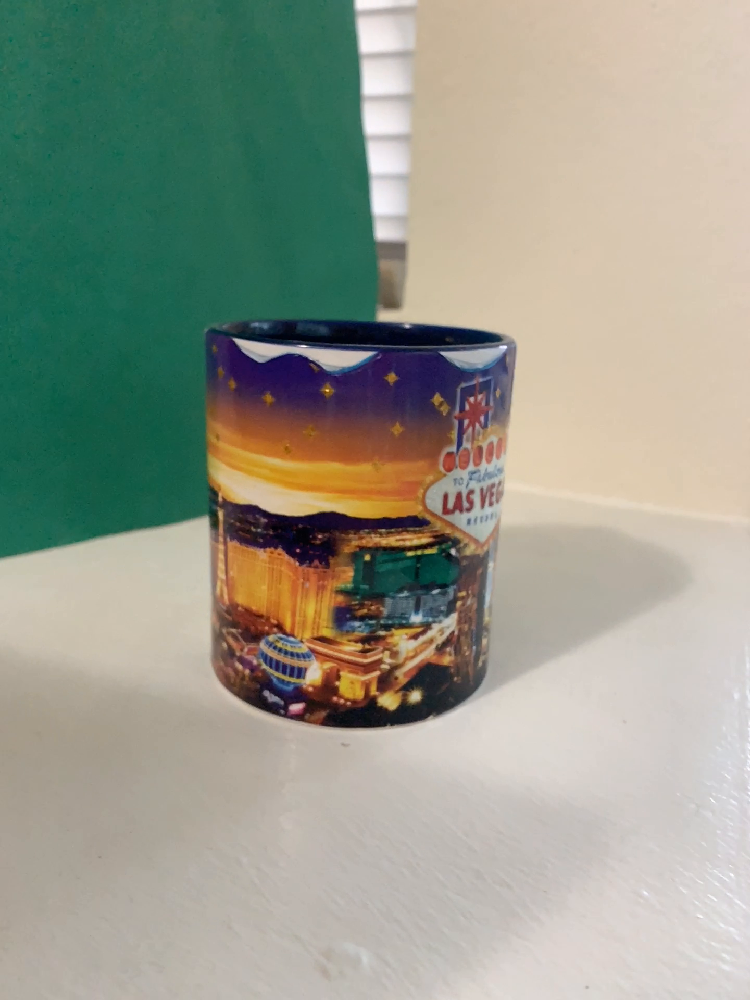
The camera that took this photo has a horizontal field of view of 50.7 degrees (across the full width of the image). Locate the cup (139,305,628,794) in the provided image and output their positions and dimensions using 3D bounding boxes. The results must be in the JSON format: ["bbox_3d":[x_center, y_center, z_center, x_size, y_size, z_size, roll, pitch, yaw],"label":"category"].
[{"bbox_3d":[0.007,-0.002,0.233,0.080,0.100,0.120,15,20,35],"label":"cup"}]
